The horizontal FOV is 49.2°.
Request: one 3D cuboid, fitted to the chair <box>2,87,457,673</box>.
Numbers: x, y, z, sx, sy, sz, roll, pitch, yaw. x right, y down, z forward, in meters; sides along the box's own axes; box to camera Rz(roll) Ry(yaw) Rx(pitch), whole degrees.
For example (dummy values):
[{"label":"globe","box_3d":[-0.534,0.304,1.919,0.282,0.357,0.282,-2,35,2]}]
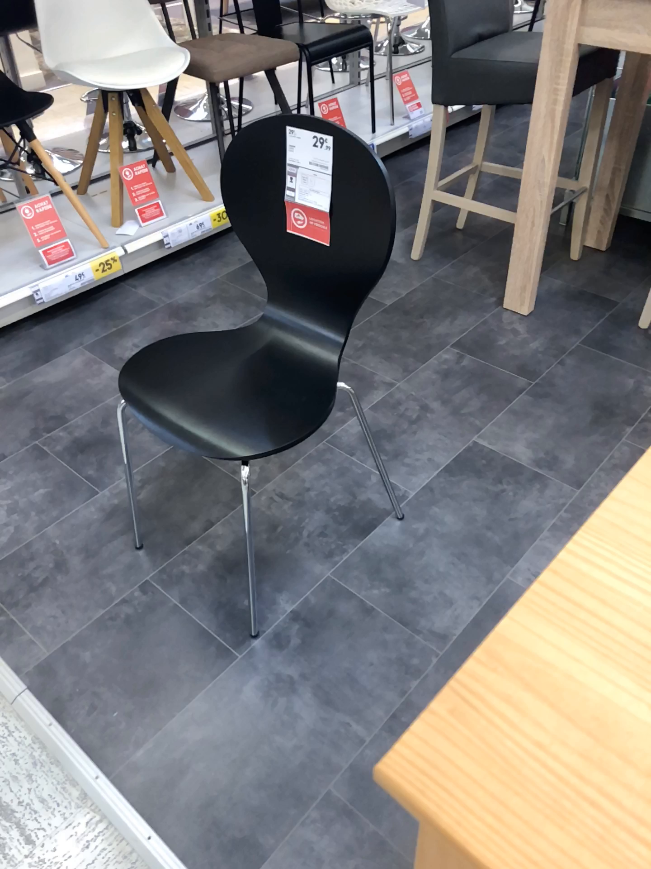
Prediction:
[{"label":"chair","box_3d":[-0.127,-0.098,1.383,0.490,0.895,0.503,27,48,31]}]
